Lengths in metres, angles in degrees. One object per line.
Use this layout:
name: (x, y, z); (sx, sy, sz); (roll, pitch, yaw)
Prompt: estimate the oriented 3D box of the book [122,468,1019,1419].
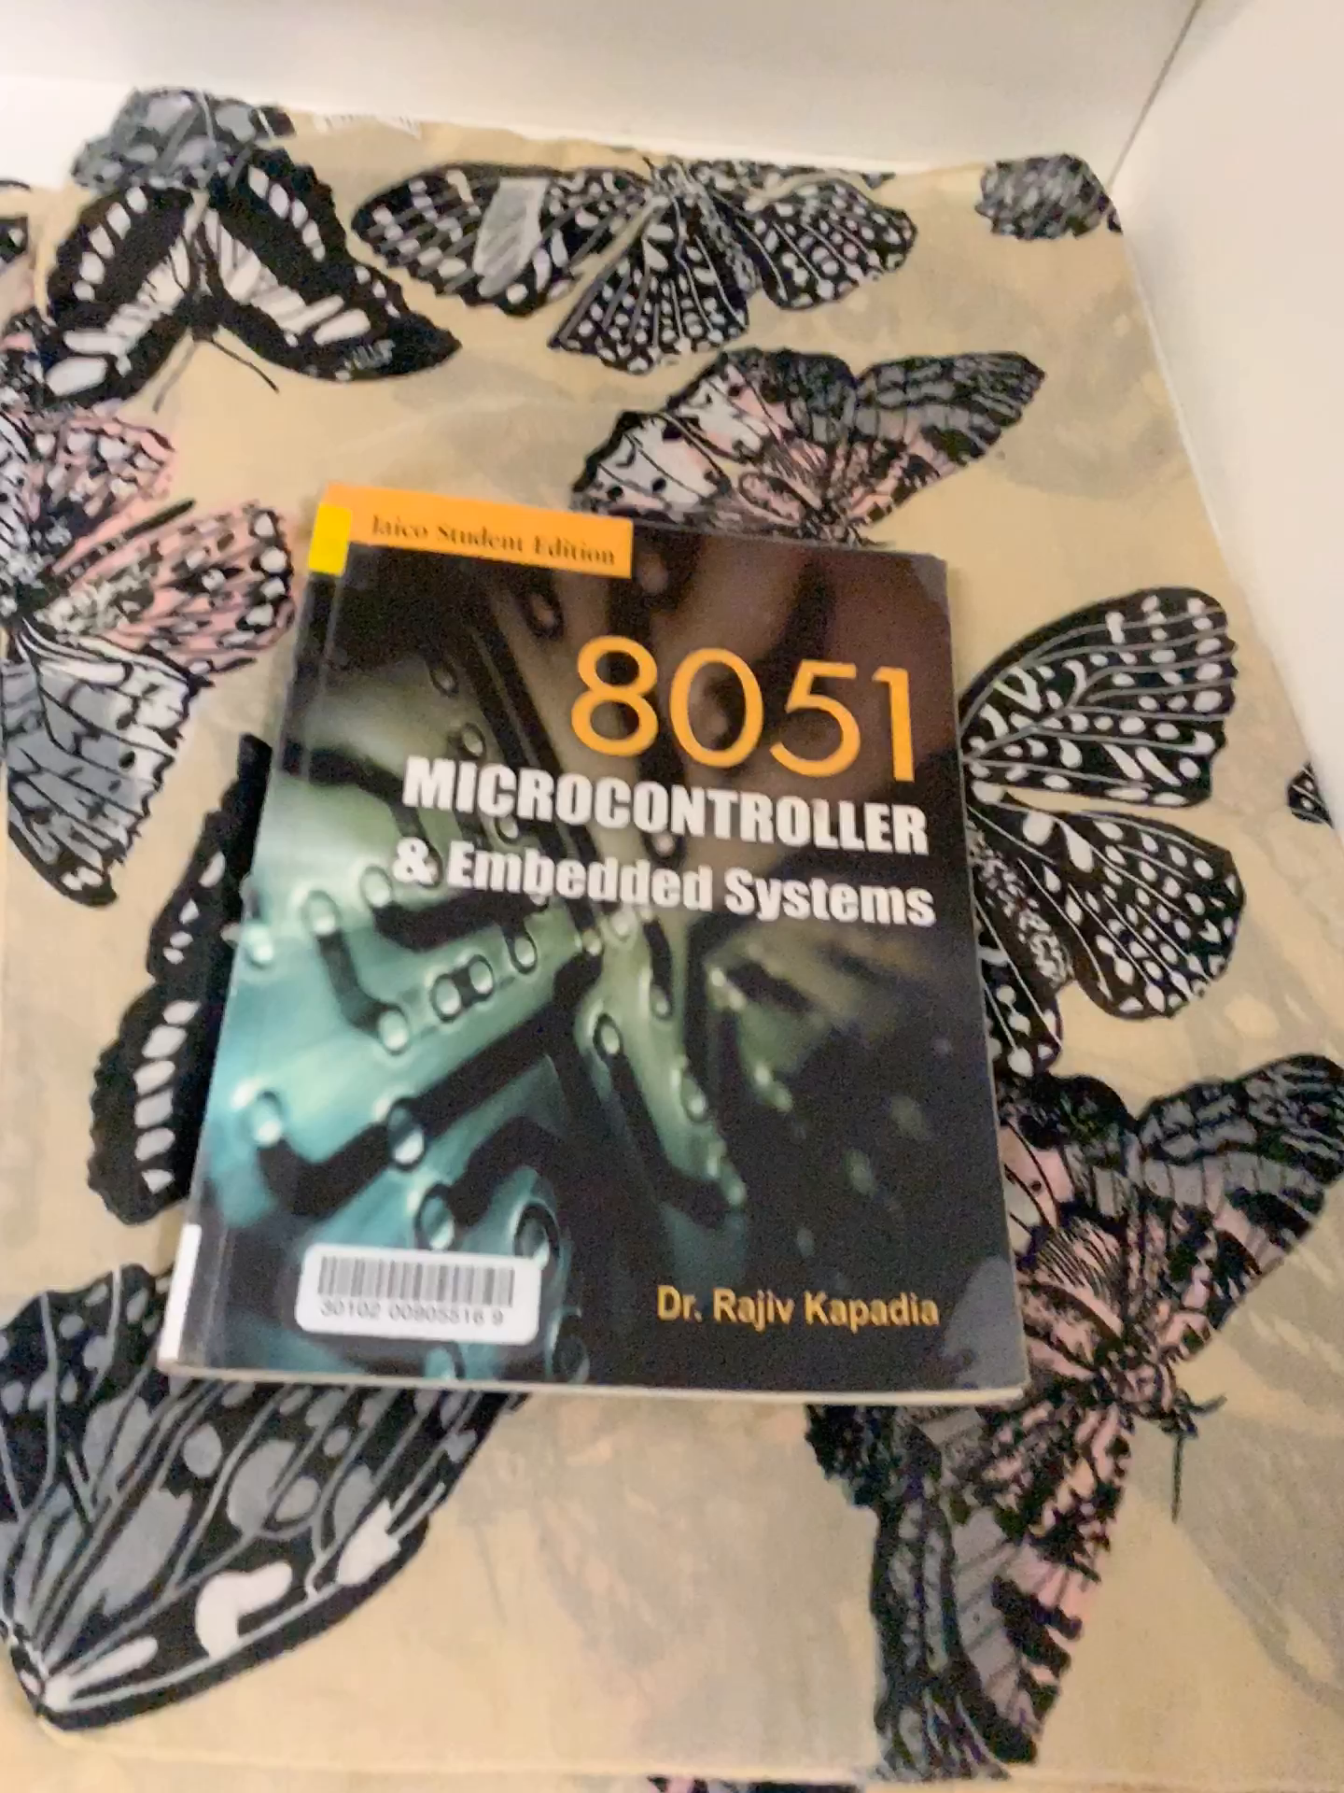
book: (-0.015, 0.000, 0.345); (0.183, 0.020, 0.237); (5, 62, -7)
